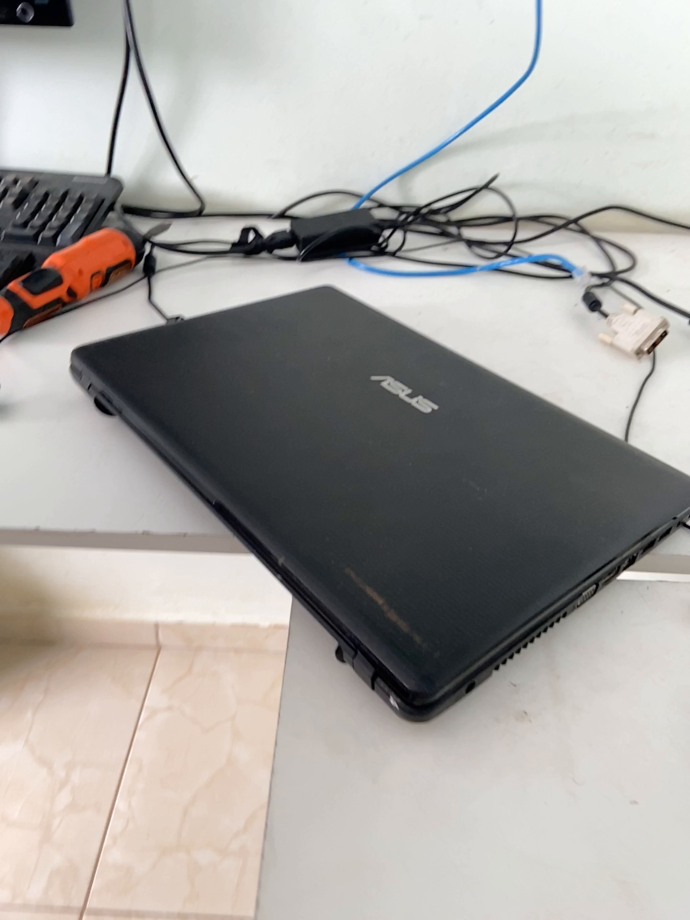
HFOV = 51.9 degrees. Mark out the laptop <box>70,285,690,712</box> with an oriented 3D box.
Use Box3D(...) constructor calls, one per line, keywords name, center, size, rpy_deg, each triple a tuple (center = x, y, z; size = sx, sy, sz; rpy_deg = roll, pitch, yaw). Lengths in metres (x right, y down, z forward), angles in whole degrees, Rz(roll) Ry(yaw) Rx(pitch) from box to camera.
Box3D(name="laptop", center=(0.009, -0.029, 0.489), size=(0.253, 0.010, 0.381), rpy_deg=(-23, 43, -33))
